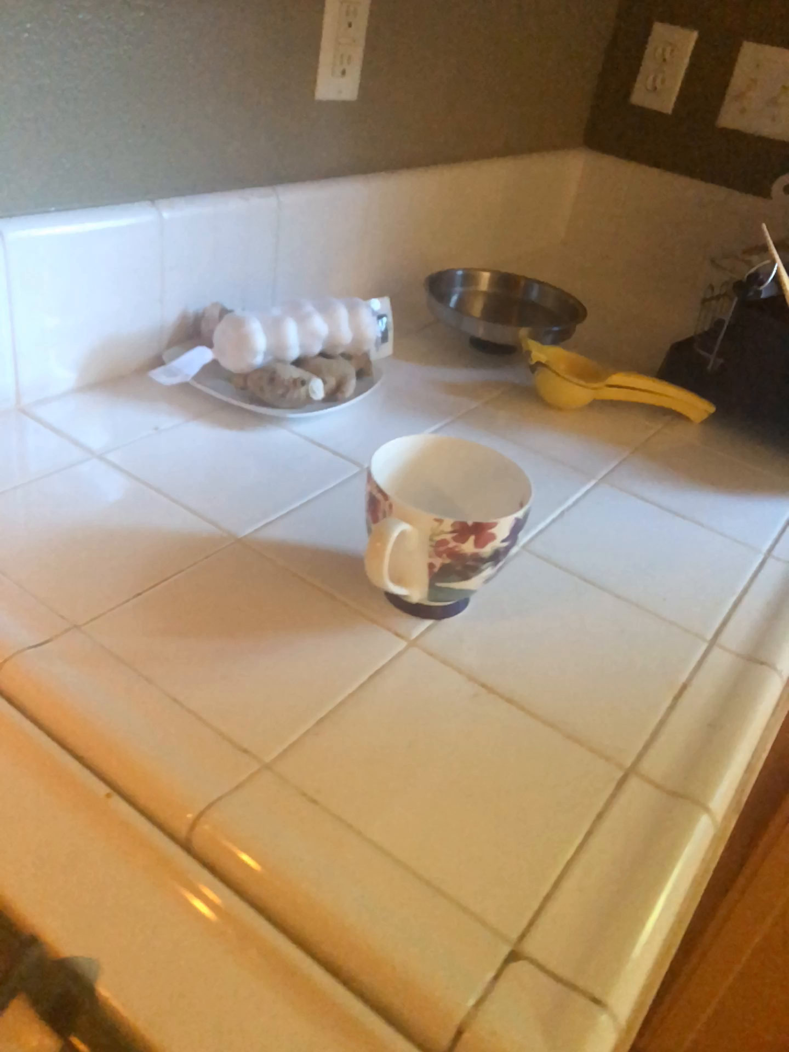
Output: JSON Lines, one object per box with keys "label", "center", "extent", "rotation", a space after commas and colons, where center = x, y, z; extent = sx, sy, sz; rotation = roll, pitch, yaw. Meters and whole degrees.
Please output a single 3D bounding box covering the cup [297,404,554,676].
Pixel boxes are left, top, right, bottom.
{"label": "cup", "center": [0.024, 0.001, 0.557], "extent": [0.110, 0.079, 0.151], "rotation": [19, 34, 12]}
